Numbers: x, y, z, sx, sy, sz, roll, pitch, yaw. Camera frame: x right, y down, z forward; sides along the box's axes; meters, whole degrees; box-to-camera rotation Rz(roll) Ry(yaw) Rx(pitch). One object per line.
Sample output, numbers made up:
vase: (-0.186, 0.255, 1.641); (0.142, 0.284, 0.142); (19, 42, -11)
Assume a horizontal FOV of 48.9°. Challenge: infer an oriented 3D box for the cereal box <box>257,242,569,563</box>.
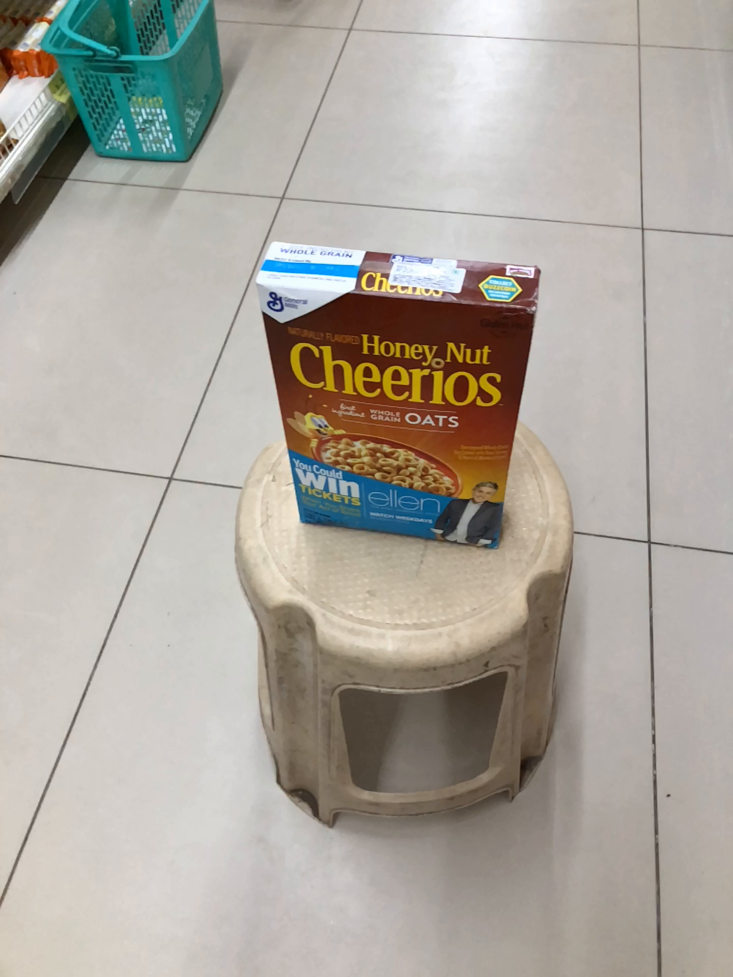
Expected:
cereal box: (0.034, -0.049, 0.619); (0.190, 0.279, 0.050); (8, 55, 8)
